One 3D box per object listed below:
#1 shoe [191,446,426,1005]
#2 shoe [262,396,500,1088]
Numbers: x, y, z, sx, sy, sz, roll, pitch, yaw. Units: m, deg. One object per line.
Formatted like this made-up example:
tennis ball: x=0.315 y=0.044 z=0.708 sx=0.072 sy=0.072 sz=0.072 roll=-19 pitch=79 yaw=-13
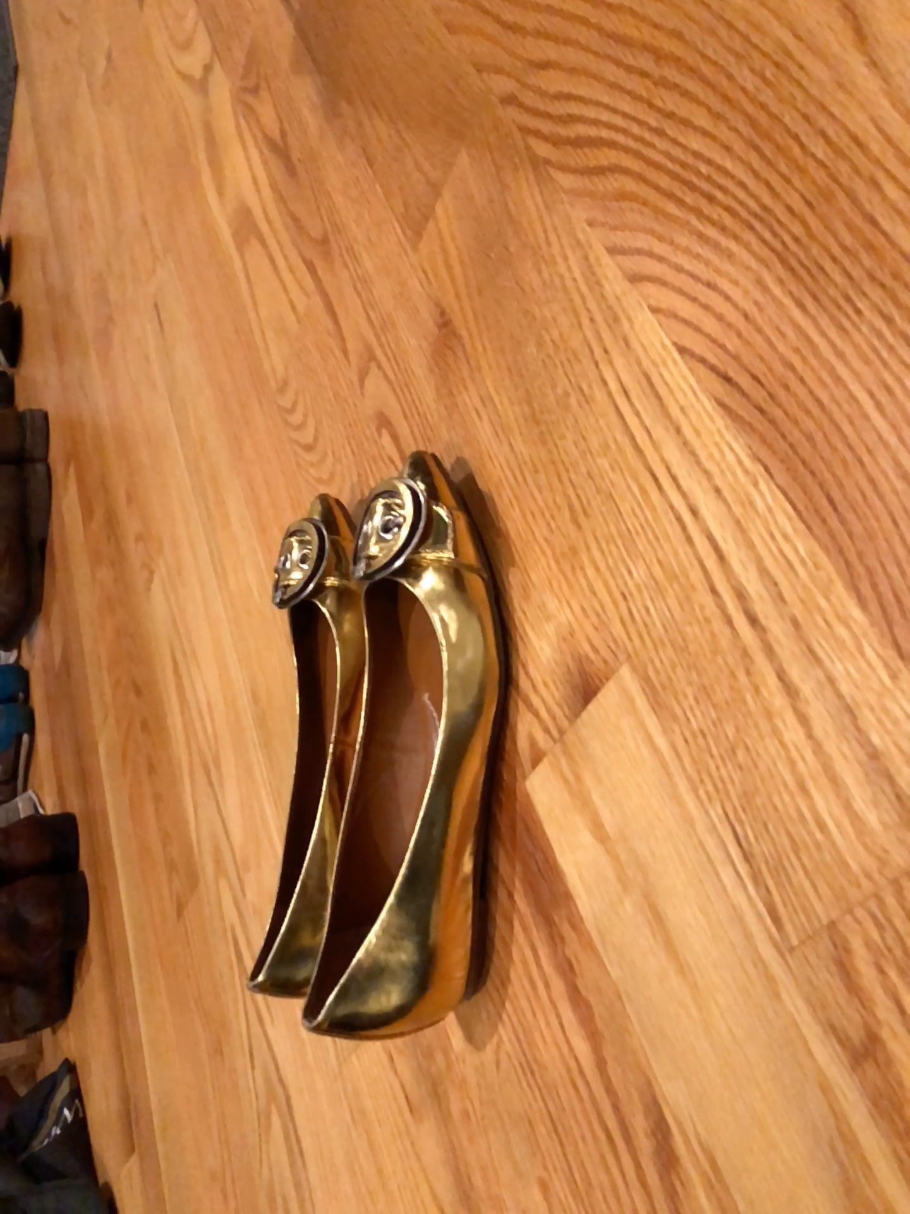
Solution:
shoe: x=-0.076 y=0.054 z=0.485 sx=0.083 sy=0.066 sz=0.244 roll=-27 pitch=66 yaw=56
shoe: x=-0.033 y=0.049 z=0.413 sx=0.077 sy=0.066 sz=0.249 roll=-7 pitch=83 yaw=59
